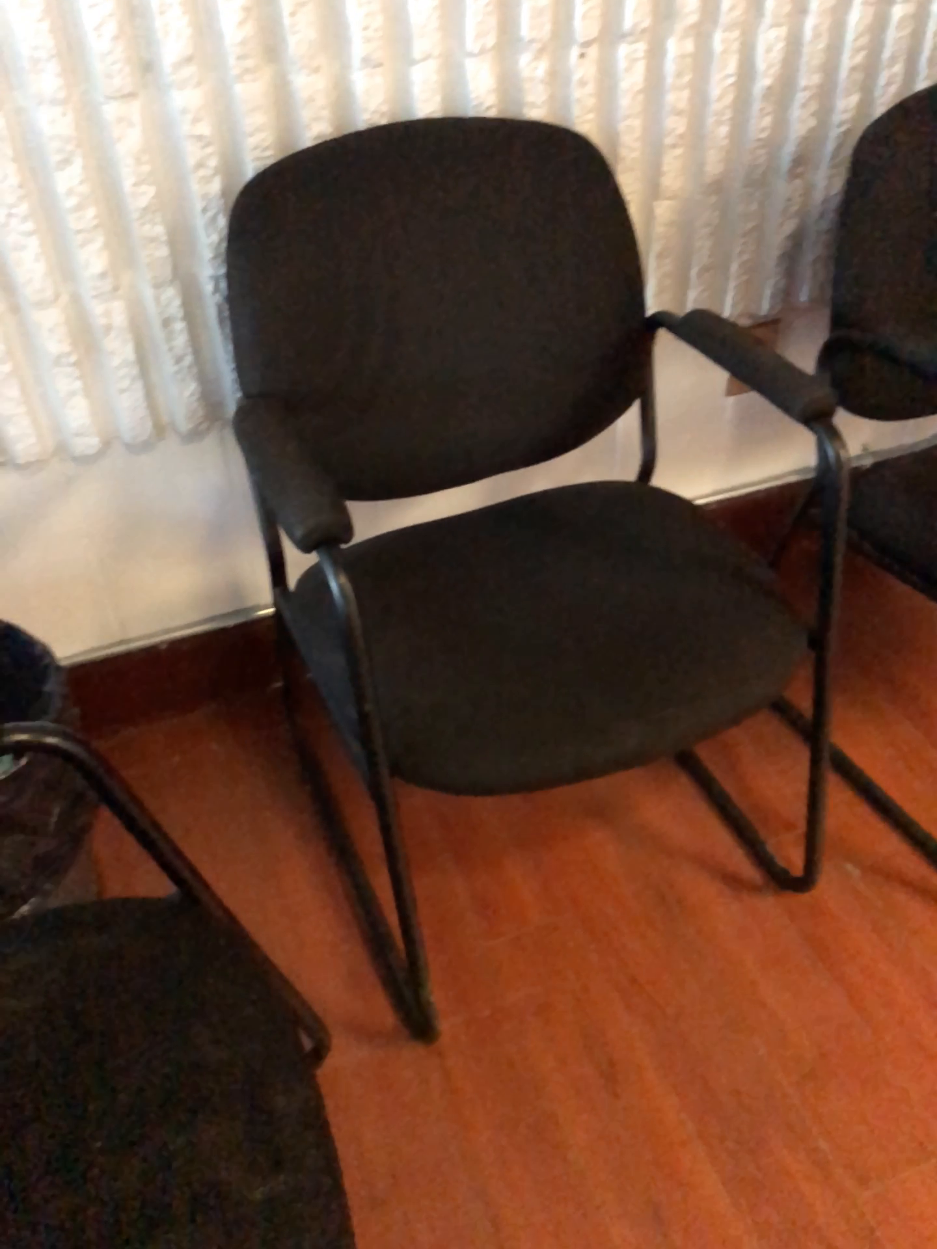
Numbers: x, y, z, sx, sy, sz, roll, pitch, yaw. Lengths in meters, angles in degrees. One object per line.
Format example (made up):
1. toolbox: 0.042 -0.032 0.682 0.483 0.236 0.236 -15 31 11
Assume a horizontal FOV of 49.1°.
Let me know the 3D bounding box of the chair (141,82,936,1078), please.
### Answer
1. chair: 0.052 -0.101 1.251 0.590 0.794 0.775 -16 43 -16
